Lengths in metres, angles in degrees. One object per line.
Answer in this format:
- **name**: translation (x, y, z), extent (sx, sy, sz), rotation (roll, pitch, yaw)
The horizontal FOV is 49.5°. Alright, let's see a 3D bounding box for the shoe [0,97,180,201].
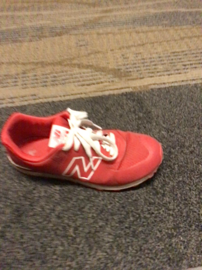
- **shoe**: translation (-0.028, 0.021, 0.342), extent (0.256, 0.107, 0.101), rotation (4, 50, 5)
